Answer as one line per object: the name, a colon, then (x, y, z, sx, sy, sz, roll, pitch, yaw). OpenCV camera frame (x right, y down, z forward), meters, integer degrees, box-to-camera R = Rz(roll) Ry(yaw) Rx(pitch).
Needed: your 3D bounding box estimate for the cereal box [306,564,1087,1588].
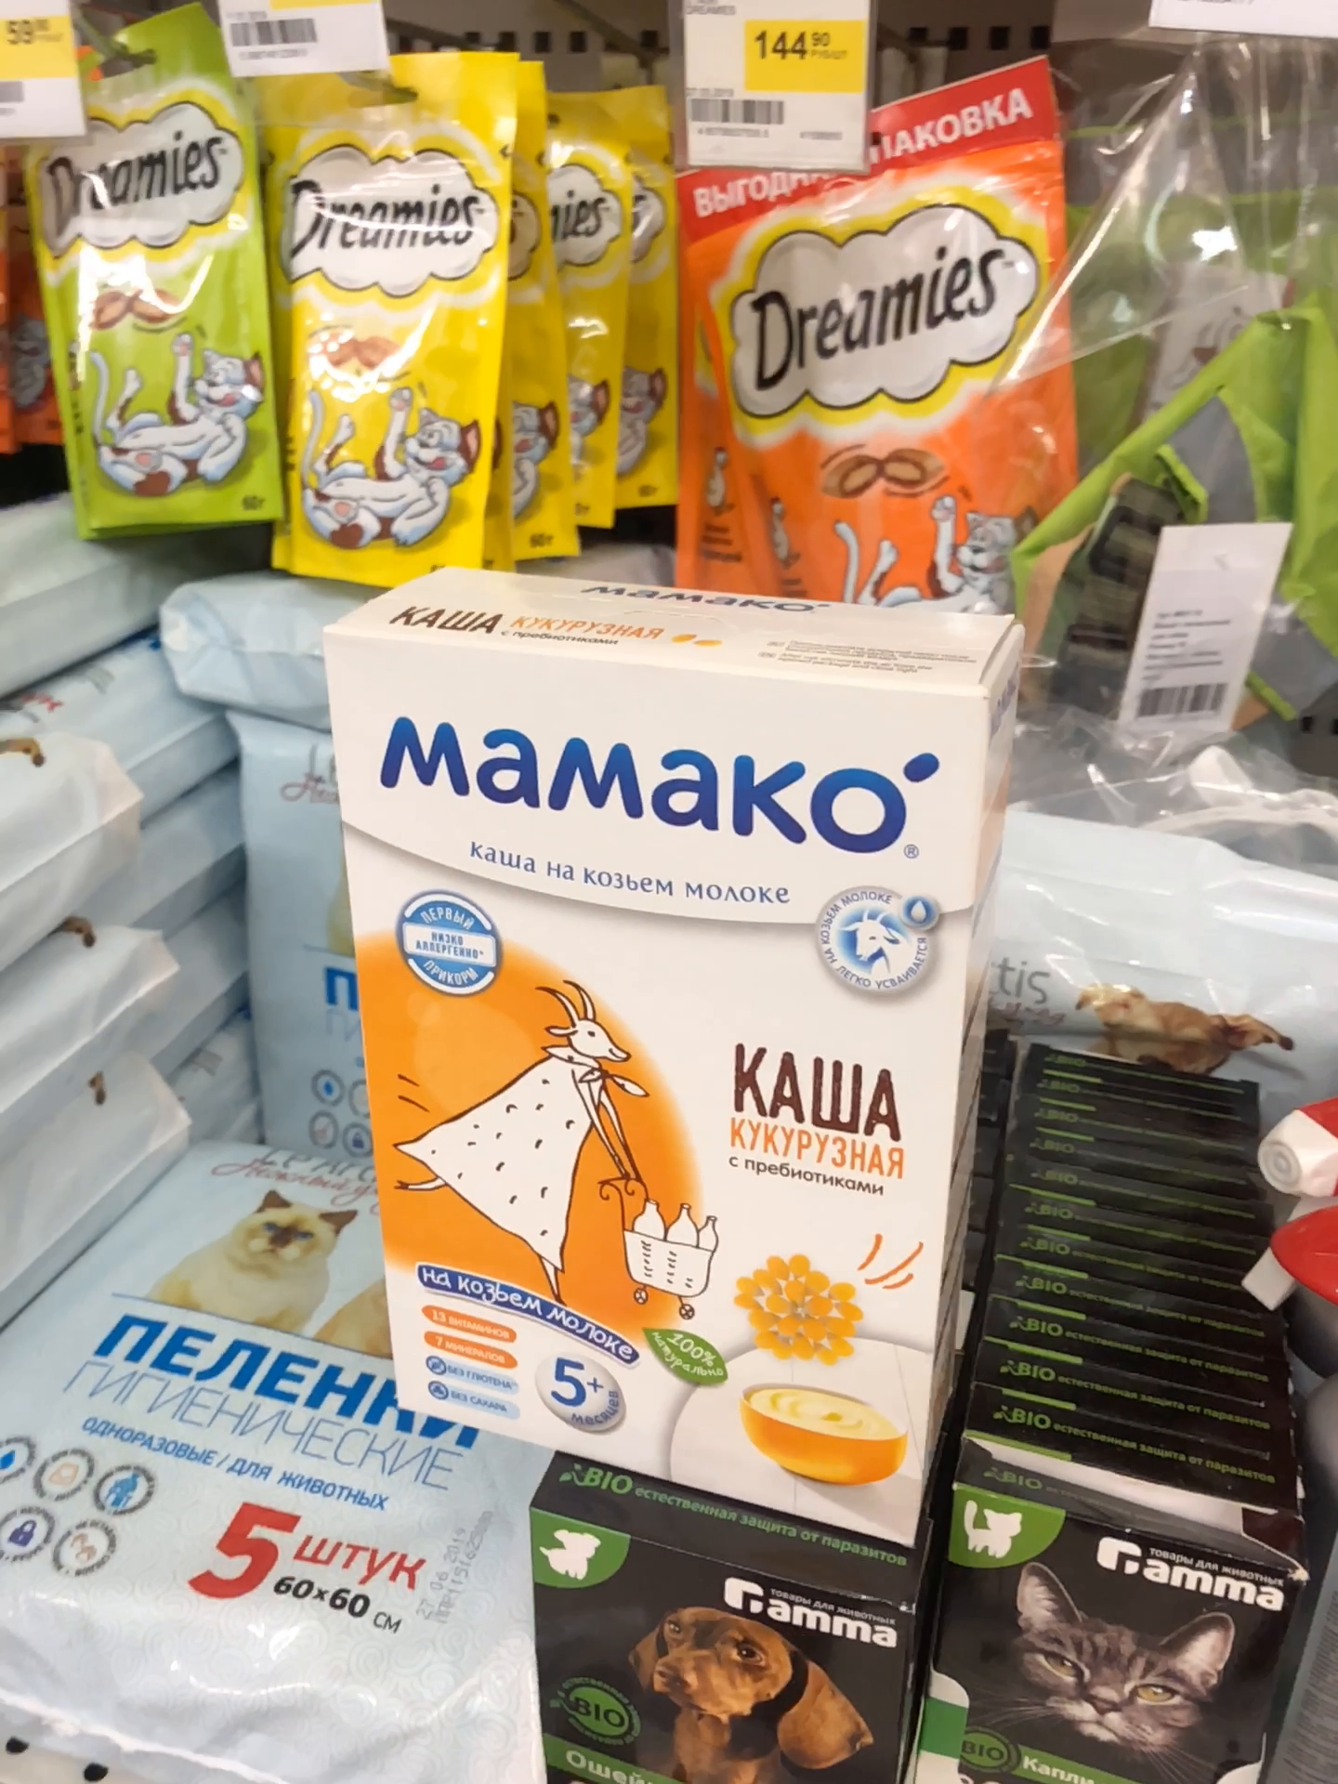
cereal box: (0.004, 0.040, 0.322, 0.140, 0.199, 0.050, 9, 25, 17)
